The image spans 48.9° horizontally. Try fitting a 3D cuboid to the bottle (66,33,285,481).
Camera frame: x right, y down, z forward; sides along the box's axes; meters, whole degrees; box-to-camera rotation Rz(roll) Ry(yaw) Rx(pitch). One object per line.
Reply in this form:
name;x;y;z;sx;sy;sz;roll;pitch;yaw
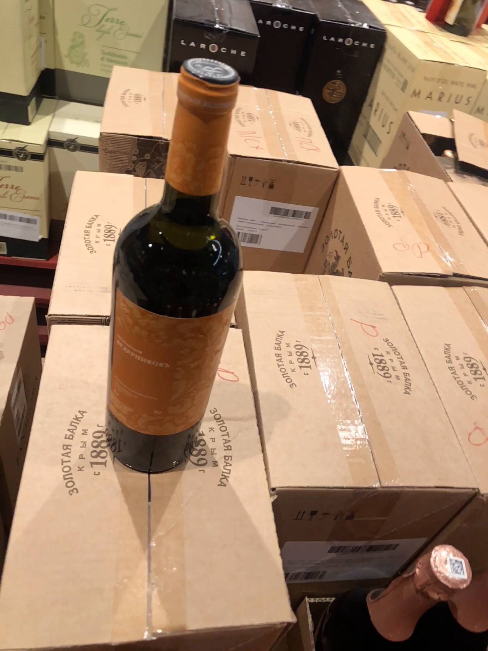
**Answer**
bottle;-0.051;-0.016;0.347;0.090;0.278;0.091;7;43;-7
